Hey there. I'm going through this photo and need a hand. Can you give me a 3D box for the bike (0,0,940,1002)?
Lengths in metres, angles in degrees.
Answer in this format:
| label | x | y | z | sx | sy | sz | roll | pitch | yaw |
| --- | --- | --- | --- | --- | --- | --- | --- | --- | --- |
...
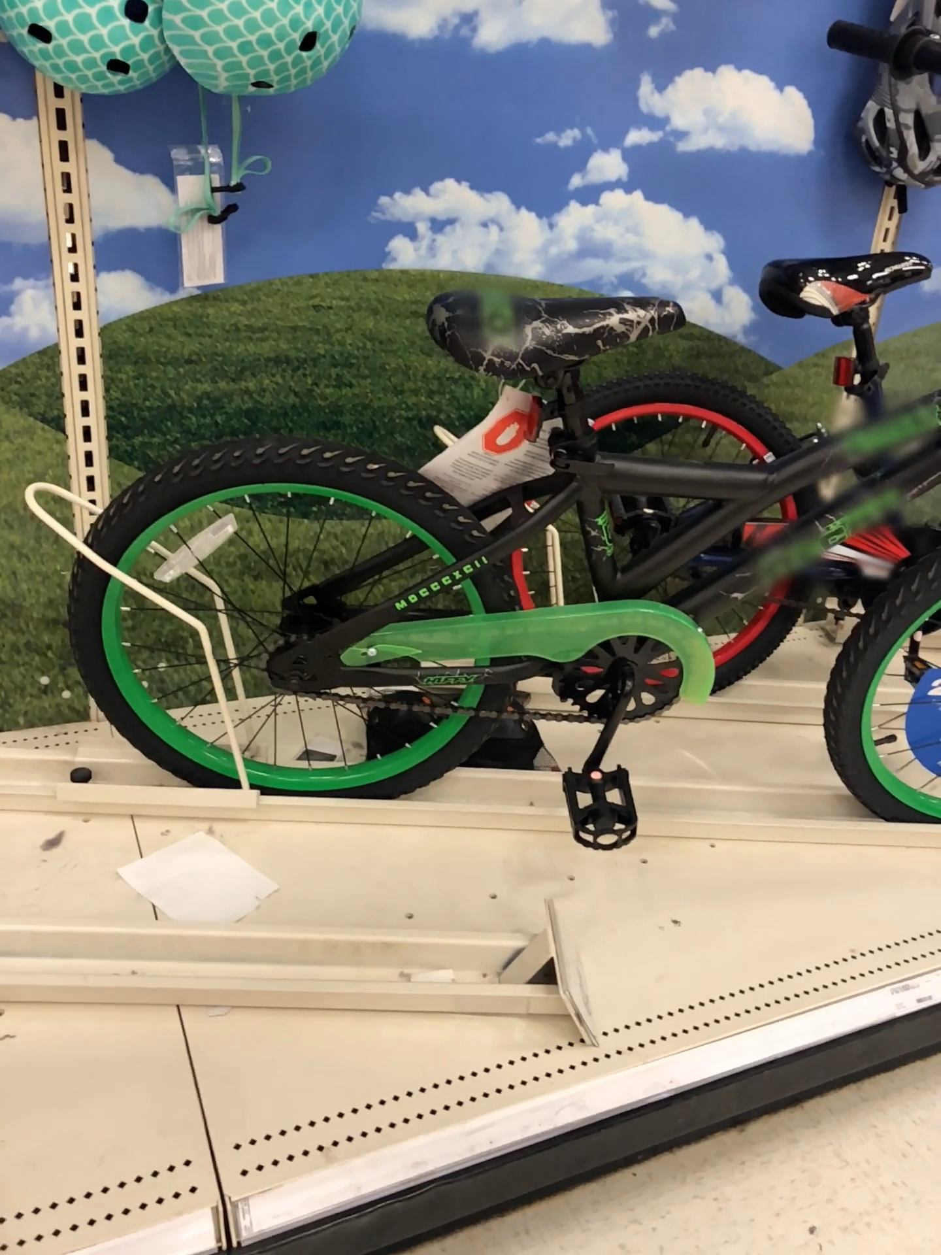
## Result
| label | x | y | z | sx | sy | sz | roll | pitch | yaw |
| --- | --- | --- | --- | --- | --- | --- | --- | --- | --- |
| bike | 0.275 | -0.173 | 1.104 | 1.361 | 0.879 | 0.631 | 2 | 25 | -5 |
